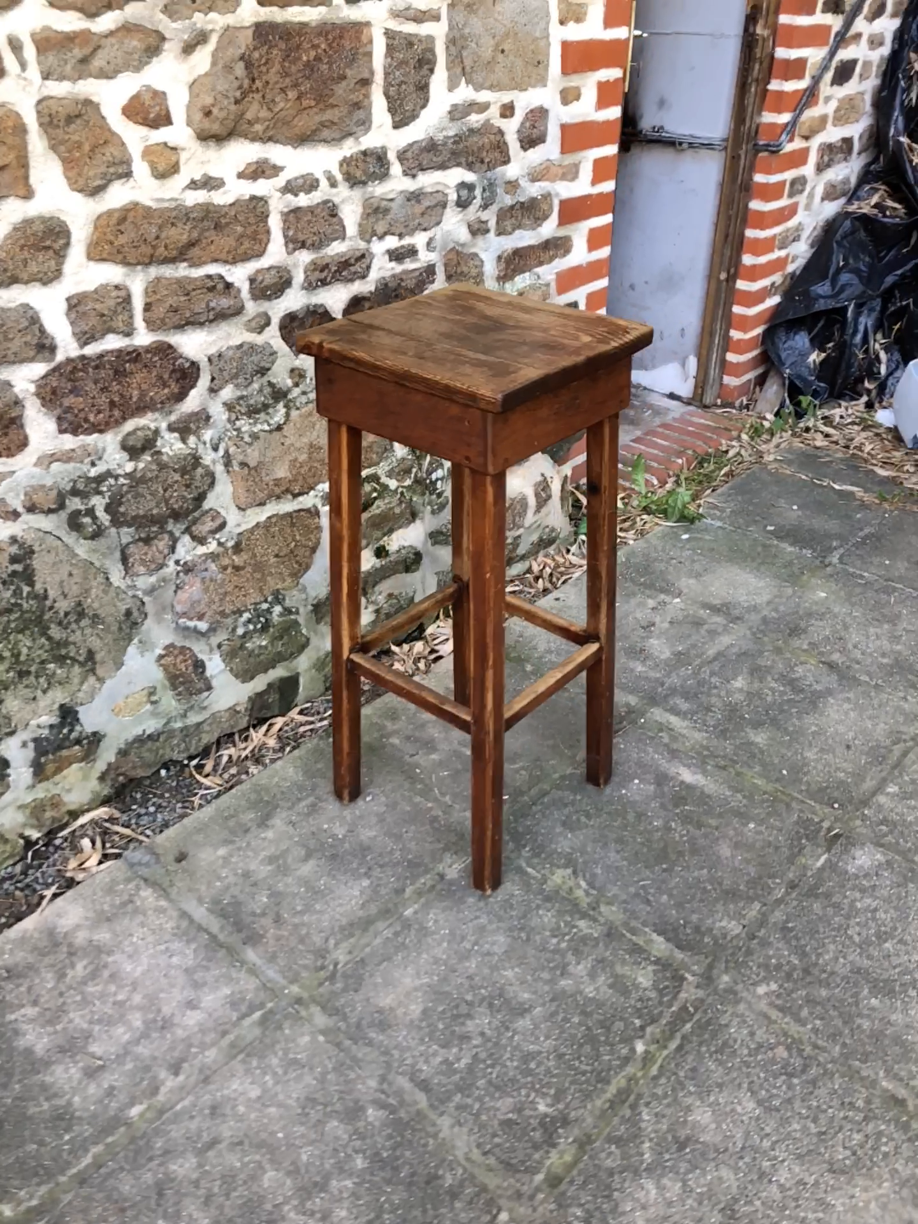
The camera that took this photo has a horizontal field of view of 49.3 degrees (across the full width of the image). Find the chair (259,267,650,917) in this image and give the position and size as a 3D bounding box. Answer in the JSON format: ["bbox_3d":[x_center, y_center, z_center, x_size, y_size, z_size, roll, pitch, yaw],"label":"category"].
[{"bbox_3d":[-0.002,-0.024,1.436,0.330,0.795,0.352,25,40,33],"label":"chair"}]
